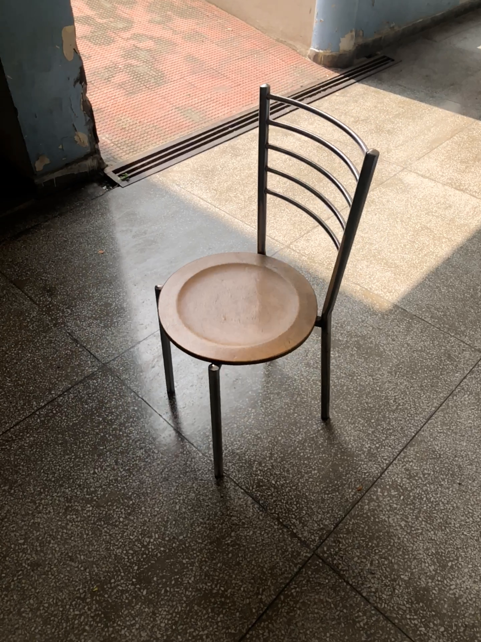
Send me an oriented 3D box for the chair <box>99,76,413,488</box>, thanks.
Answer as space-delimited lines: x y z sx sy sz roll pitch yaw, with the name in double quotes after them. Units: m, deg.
0.010 -0.066 1.247 0.420 0.777 0.421 -22 49 -22 "chair"
